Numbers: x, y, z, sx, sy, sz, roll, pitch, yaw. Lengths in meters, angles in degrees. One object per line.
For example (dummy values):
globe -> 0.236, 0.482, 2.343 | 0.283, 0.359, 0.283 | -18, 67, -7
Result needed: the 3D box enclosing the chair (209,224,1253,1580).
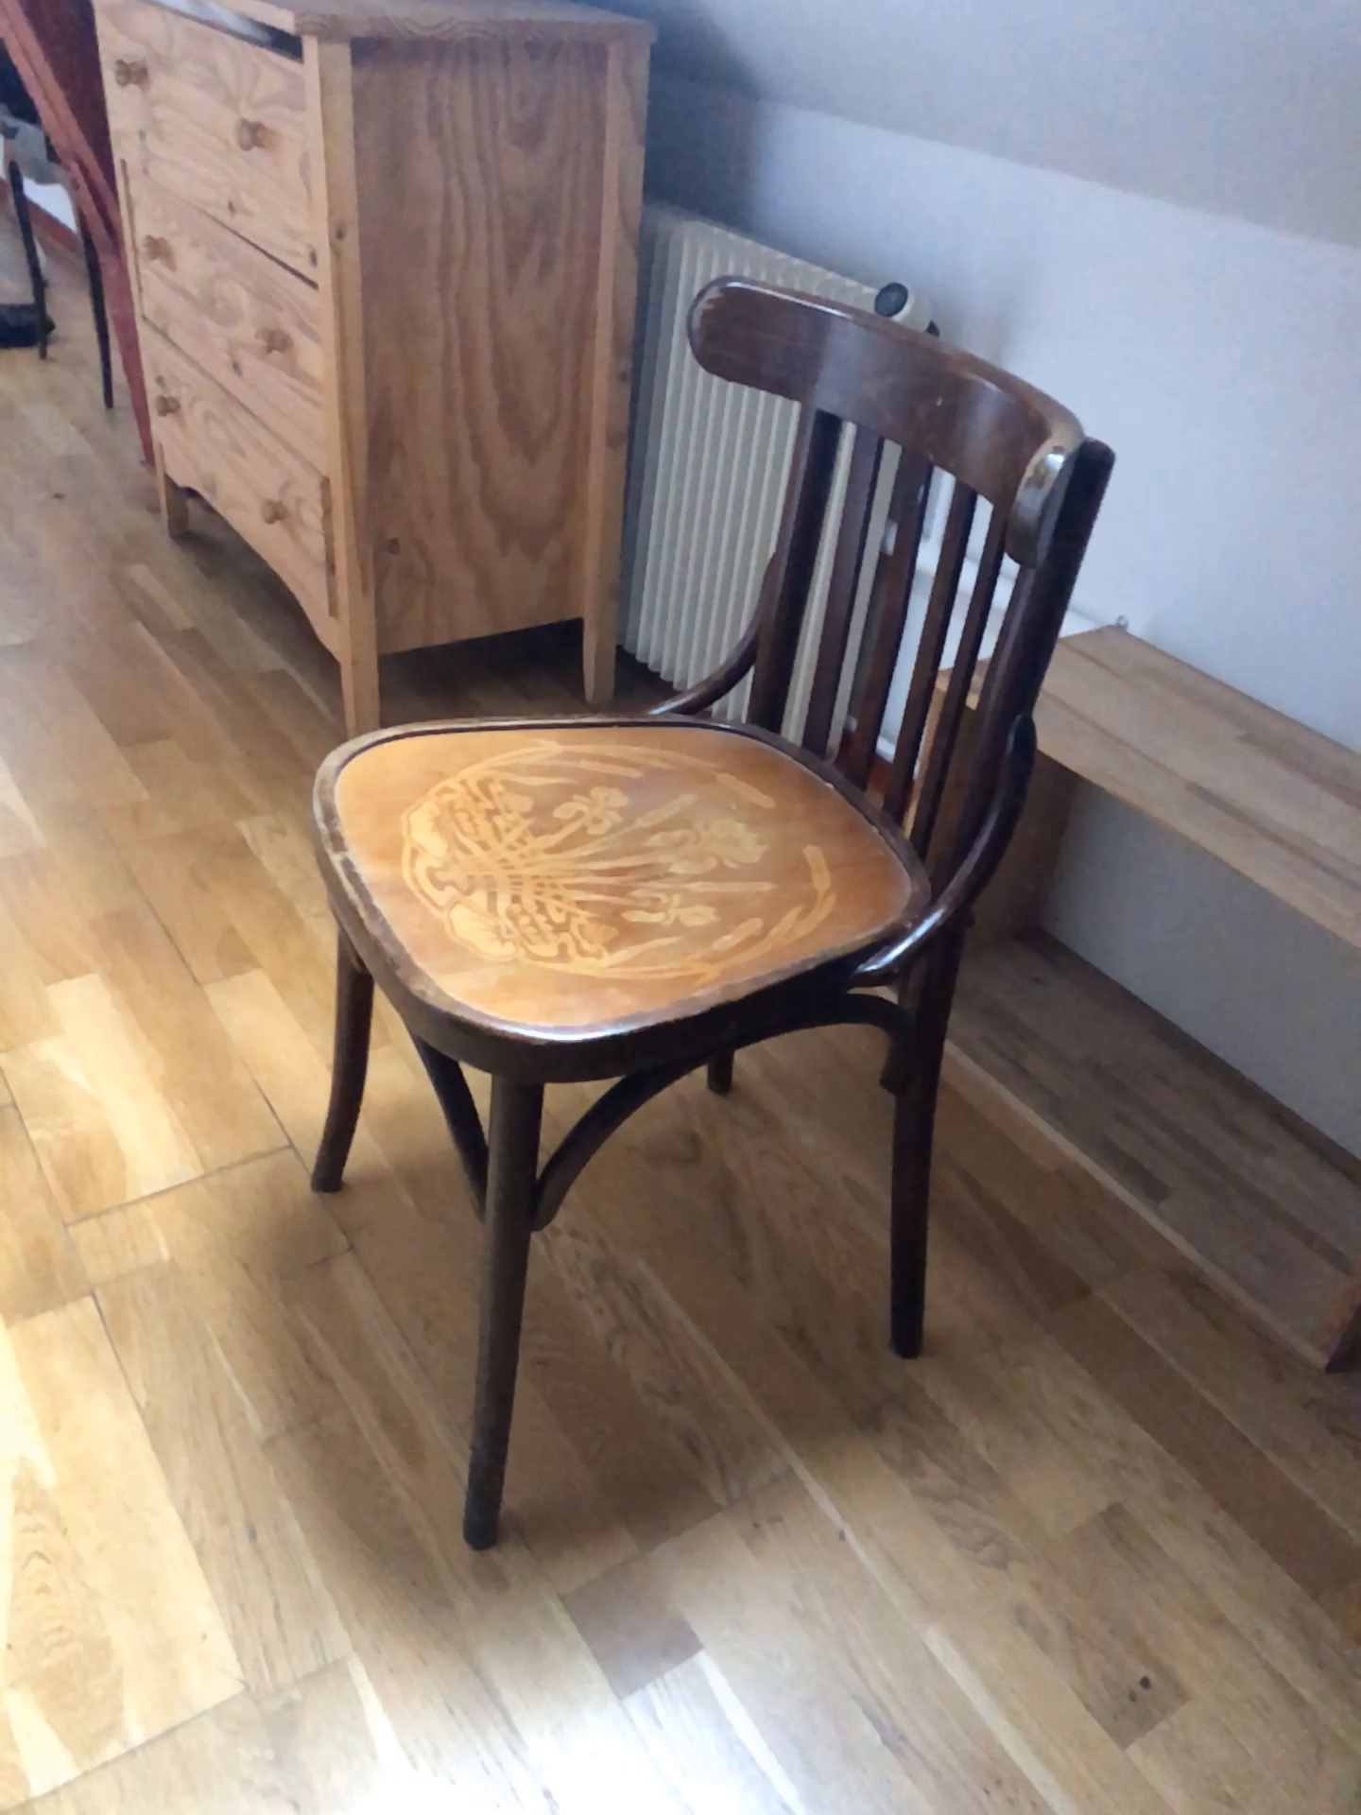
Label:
chair -> -0.034, -0.019, 1.019 | 0.413, 0.737, 0.443 | -12, 39, -26
